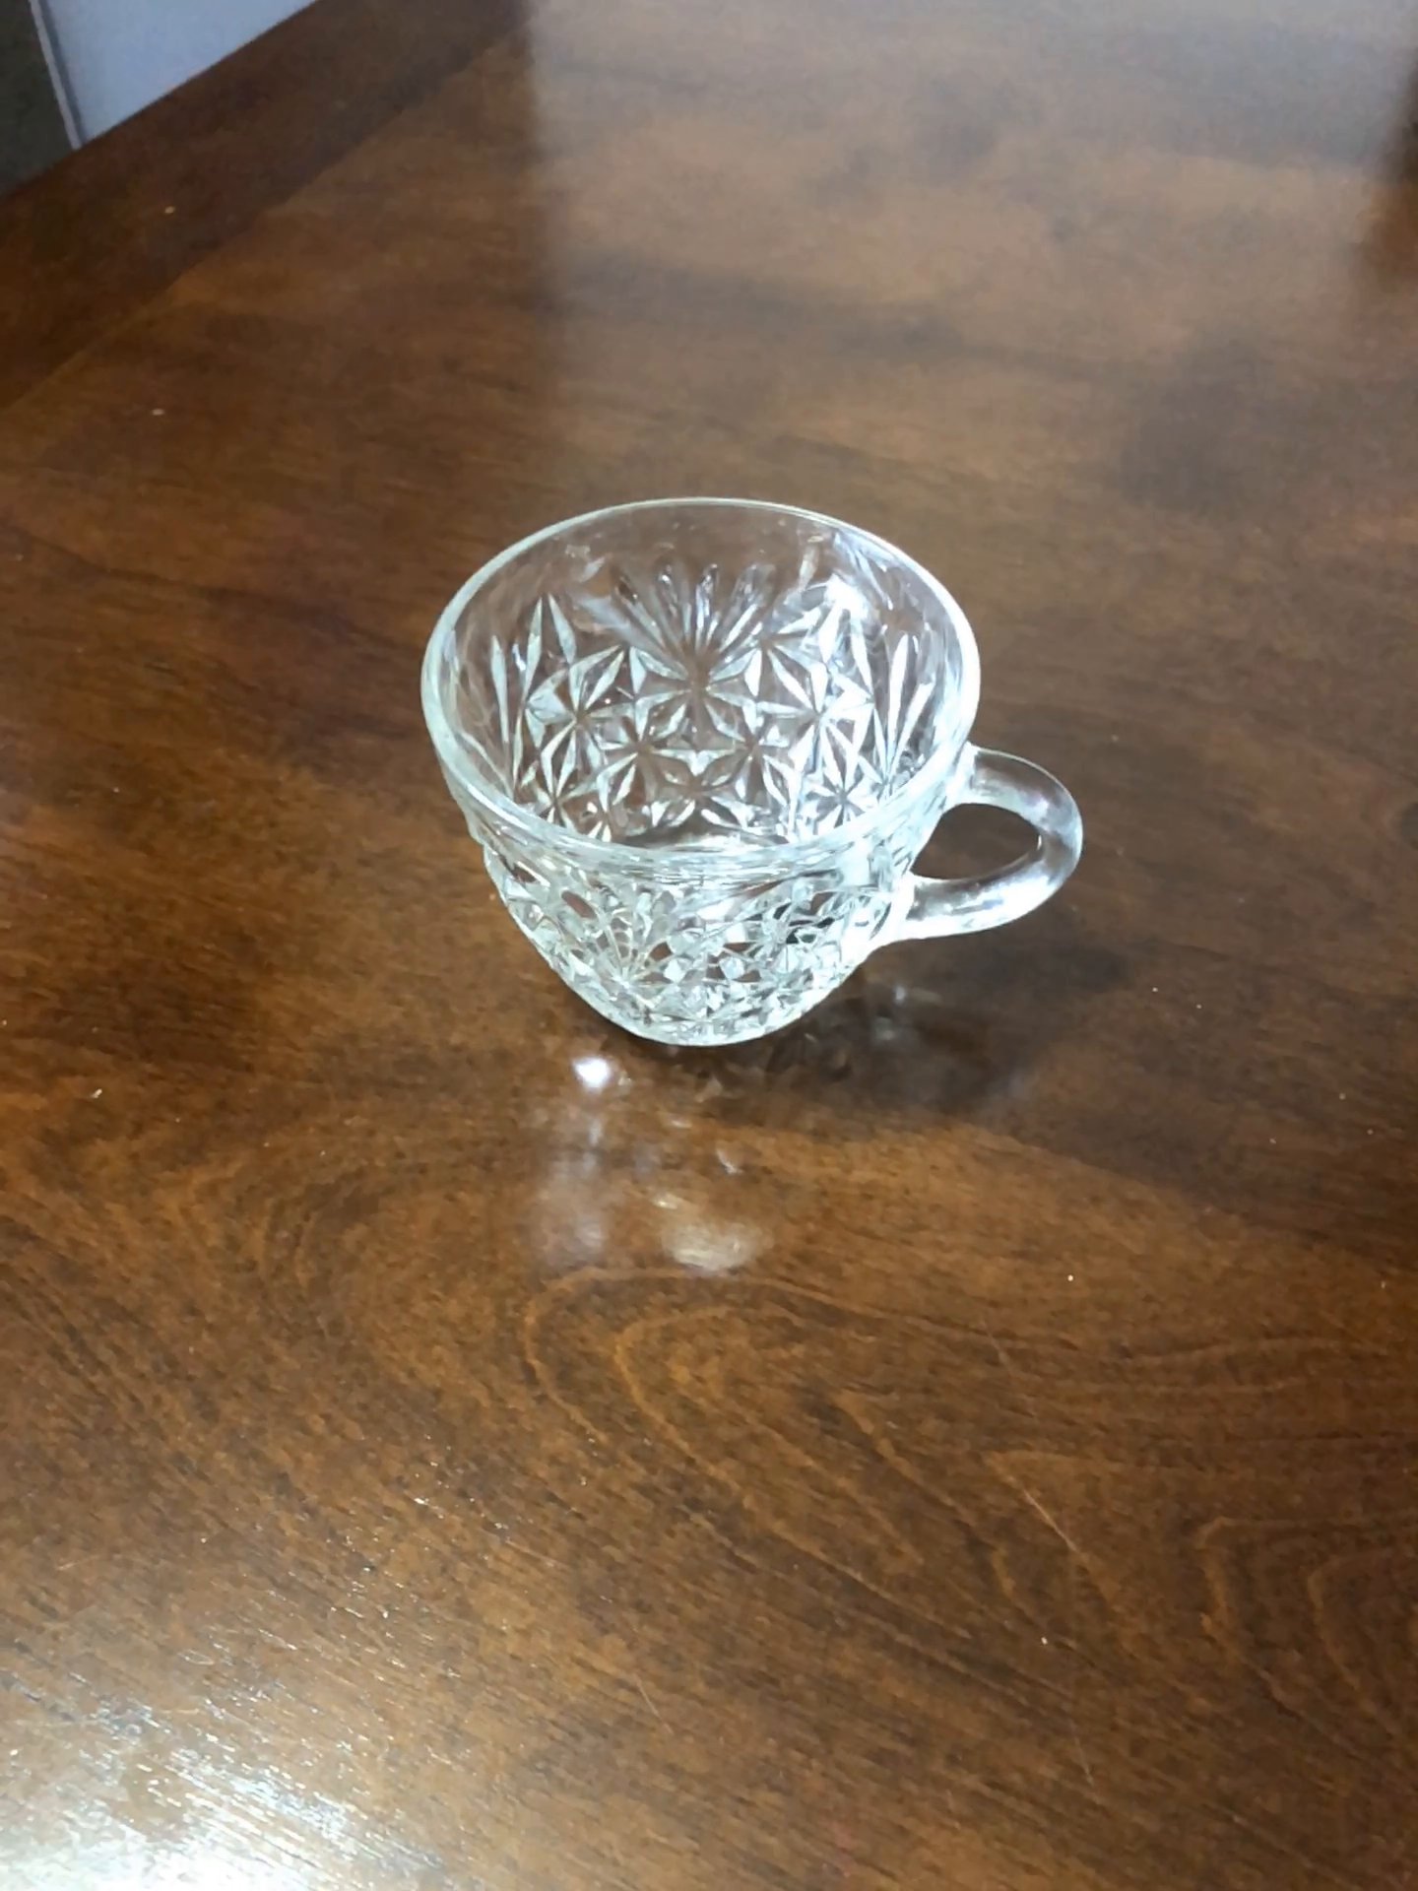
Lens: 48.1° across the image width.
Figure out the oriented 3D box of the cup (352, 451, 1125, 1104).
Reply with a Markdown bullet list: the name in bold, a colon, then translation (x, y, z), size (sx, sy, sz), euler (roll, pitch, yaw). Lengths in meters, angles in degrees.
- **cup**: translation (0.009, -0.028, 0.250), size (0.100, 0.060, 0.070), euler (7, 49, 8)
